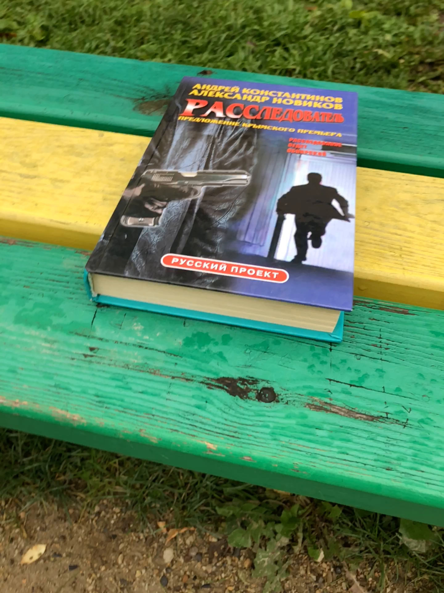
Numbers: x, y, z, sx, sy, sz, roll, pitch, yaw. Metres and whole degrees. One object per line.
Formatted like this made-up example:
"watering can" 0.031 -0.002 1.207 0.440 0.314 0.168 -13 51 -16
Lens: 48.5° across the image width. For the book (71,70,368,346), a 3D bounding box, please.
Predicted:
"book" 0.015 -0.071 0.304 0.138 0.031 0.202 9 50 7
